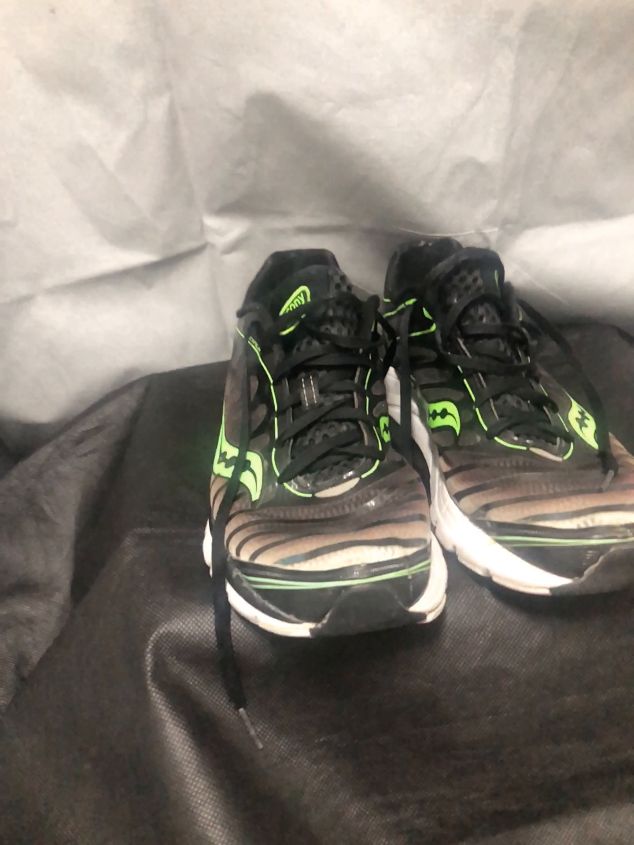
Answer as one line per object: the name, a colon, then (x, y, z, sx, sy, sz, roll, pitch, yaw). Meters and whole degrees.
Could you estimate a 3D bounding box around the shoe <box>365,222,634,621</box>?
shoe: (0.105, -0.022, 0.368, 0.114, 0.097, 0.226, -6, 32, -7)

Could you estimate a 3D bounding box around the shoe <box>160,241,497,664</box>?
shoe: (-0.010, -0.008, 0.357, 0.116, 0.096, 0.226, -6, 32, -7)
